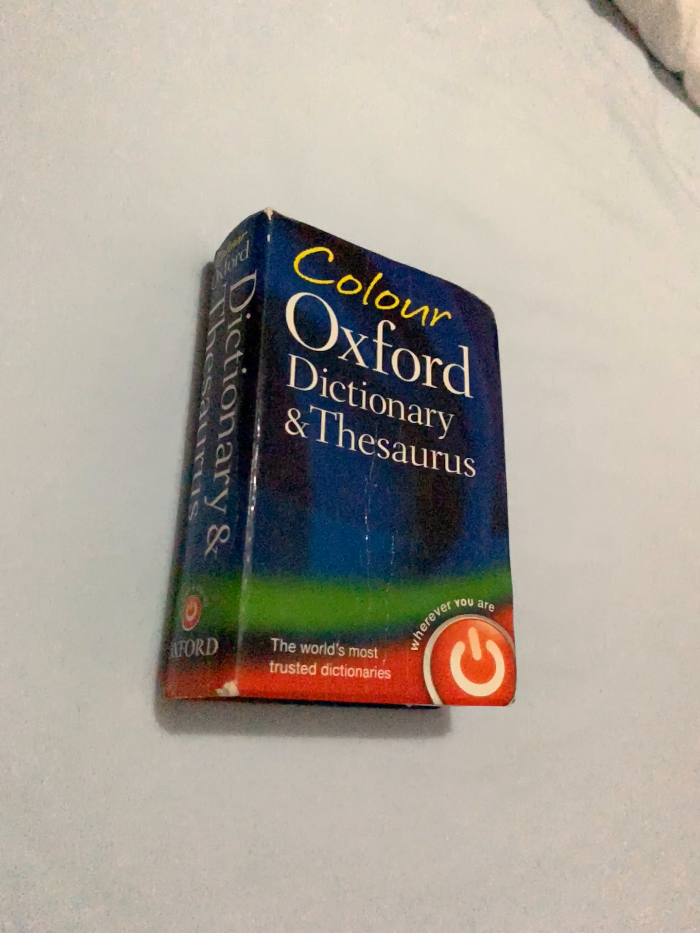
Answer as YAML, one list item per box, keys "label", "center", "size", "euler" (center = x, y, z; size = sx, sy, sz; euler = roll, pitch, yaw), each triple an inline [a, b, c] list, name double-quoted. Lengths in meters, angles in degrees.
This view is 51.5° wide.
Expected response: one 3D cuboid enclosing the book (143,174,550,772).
- label: "book"
  center: [0.006, 0.006, 0.251]
  size: [0.120, 0.040, 0.181]
  euler: [12, 70, -26]
